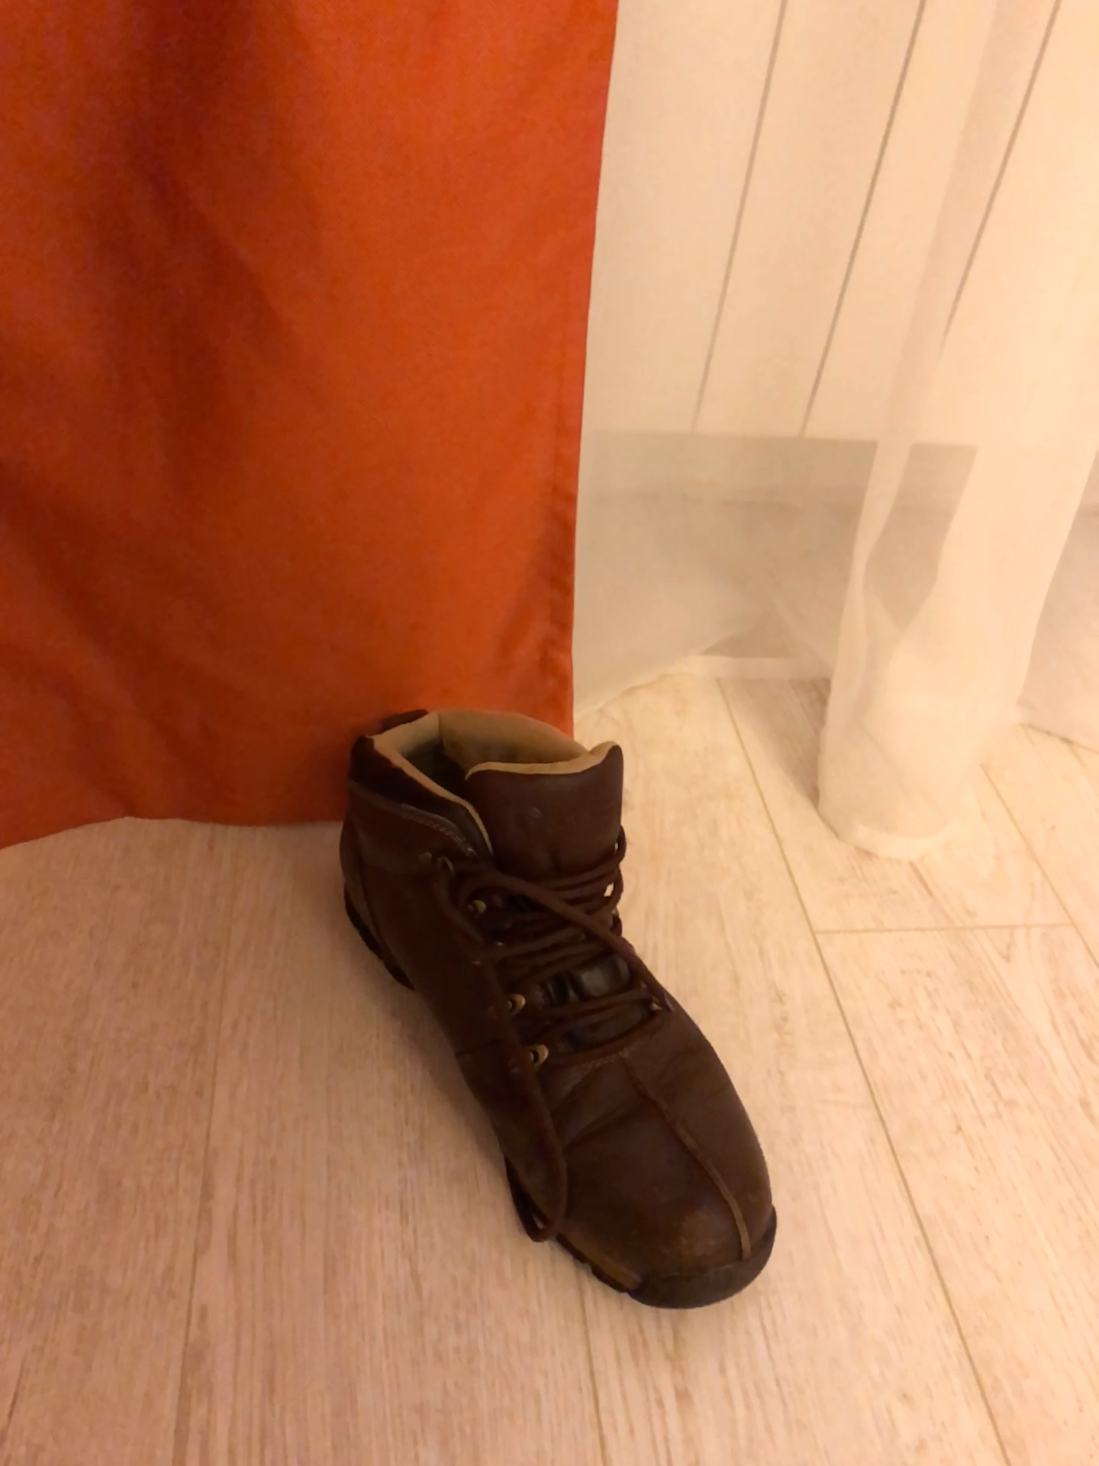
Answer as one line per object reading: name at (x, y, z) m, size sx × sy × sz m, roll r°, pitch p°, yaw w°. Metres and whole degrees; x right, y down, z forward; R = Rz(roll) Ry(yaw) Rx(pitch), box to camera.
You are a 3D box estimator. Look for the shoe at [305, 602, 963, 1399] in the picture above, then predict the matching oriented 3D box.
shoe at (0.009, 0.096, 0.539) m, size 0.110 × 0.159 × 0.301 m, roll -19°, pitch 45°, yaw -29°
